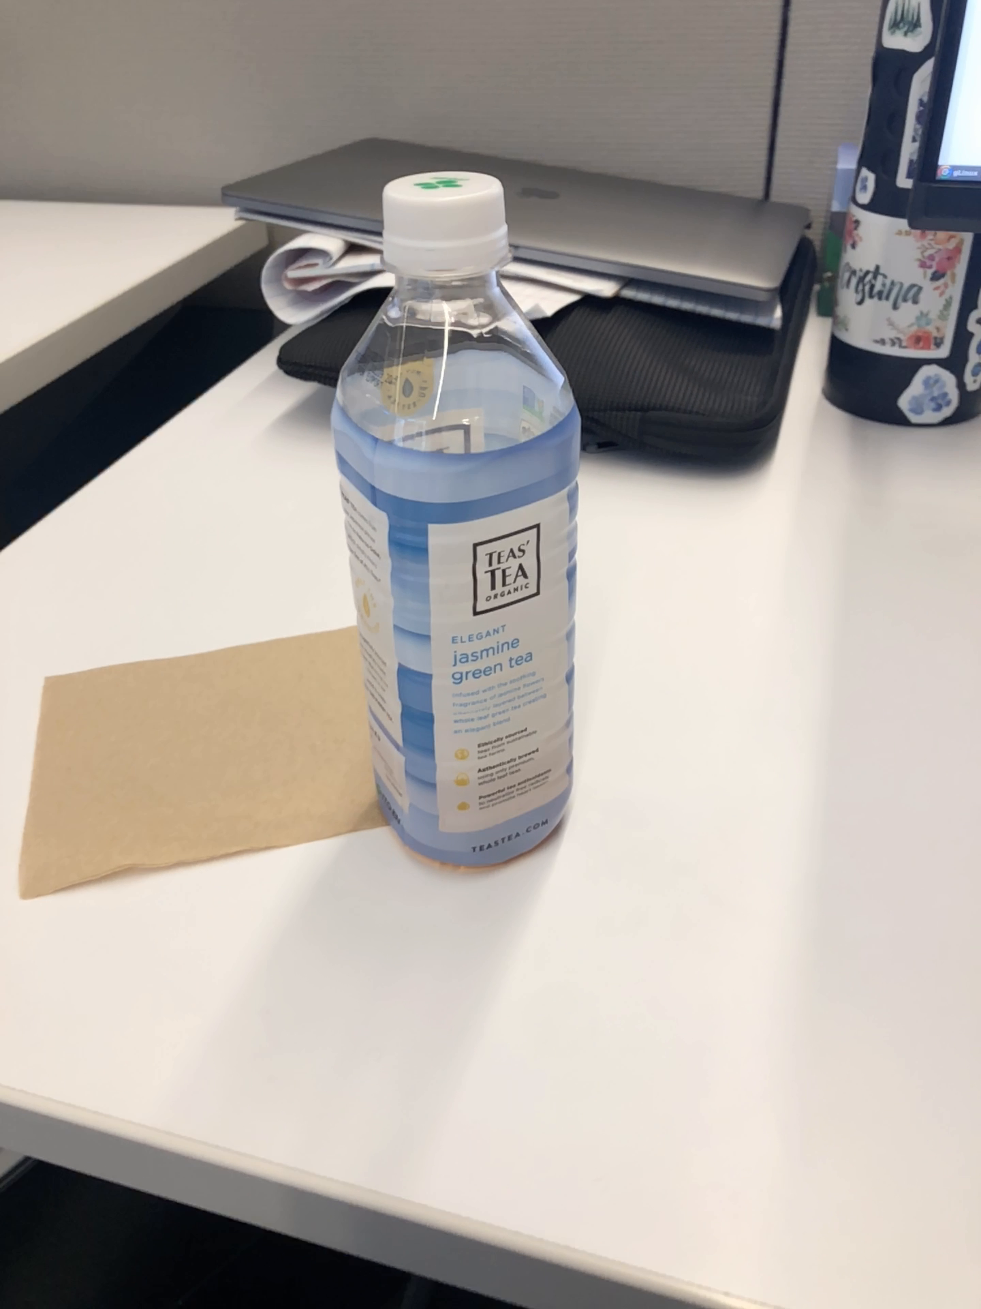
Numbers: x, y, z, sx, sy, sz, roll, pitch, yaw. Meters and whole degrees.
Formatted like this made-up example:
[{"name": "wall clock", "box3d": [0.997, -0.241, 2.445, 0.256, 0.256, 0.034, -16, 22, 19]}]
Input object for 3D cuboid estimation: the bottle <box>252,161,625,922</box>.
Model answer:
[{"name": "bottle", "box3d": [-0.012, -0.028, 0.335, 0.070, 0.209, 0.070, -2, 33, 1]}]
